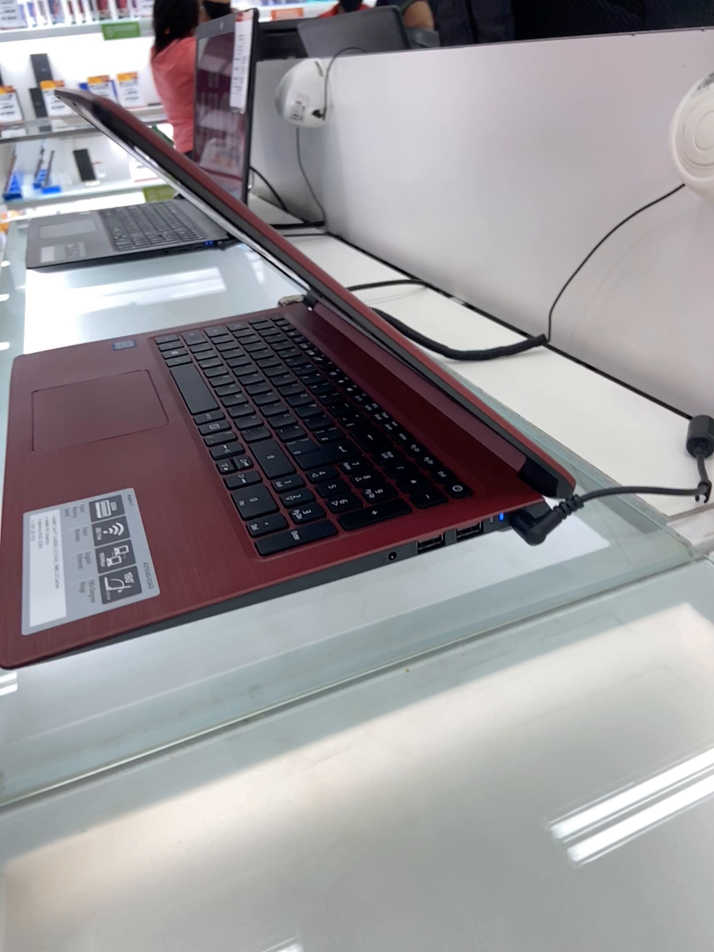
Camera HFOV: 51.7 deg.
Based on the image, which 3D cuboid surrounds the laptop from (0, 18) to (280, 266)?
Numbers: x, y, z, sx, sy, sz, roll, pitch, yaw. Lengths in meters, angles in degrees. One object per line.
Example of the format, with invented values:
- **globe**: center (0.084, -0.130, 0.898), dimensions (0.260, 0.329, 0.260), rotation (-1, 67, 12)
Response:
- **laptop**: center (-0.312, -0.460, 0.984), dimensions (0.304, 0.230, 0.329), rotation (-15, 32, -15)

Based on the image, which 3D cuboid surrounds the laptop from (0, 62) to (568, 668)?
- **laptop**: center (-0.097, -0.117, 0.416), dimensions (0.238, 0.179, 0.369), rotation (-15, 31, -16)
